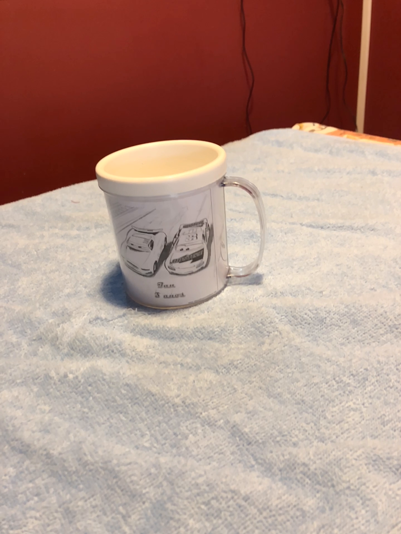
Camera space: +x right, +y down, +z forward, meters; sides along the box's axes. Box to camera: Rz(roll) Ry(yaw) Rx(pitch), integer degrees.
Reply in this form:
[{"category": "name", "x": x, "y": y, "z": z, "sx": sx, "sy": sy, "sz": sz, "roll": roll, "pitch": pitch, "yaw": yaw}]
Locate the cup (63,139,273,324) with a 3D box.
[{"category": "cup", "x": -0.013, "y": -0.030, "z": 0.326, "sx": 0.120, "sy": 0.099, "sz": 0.091, "roll": 2, "pitch": 30, "yaw": 15}]
